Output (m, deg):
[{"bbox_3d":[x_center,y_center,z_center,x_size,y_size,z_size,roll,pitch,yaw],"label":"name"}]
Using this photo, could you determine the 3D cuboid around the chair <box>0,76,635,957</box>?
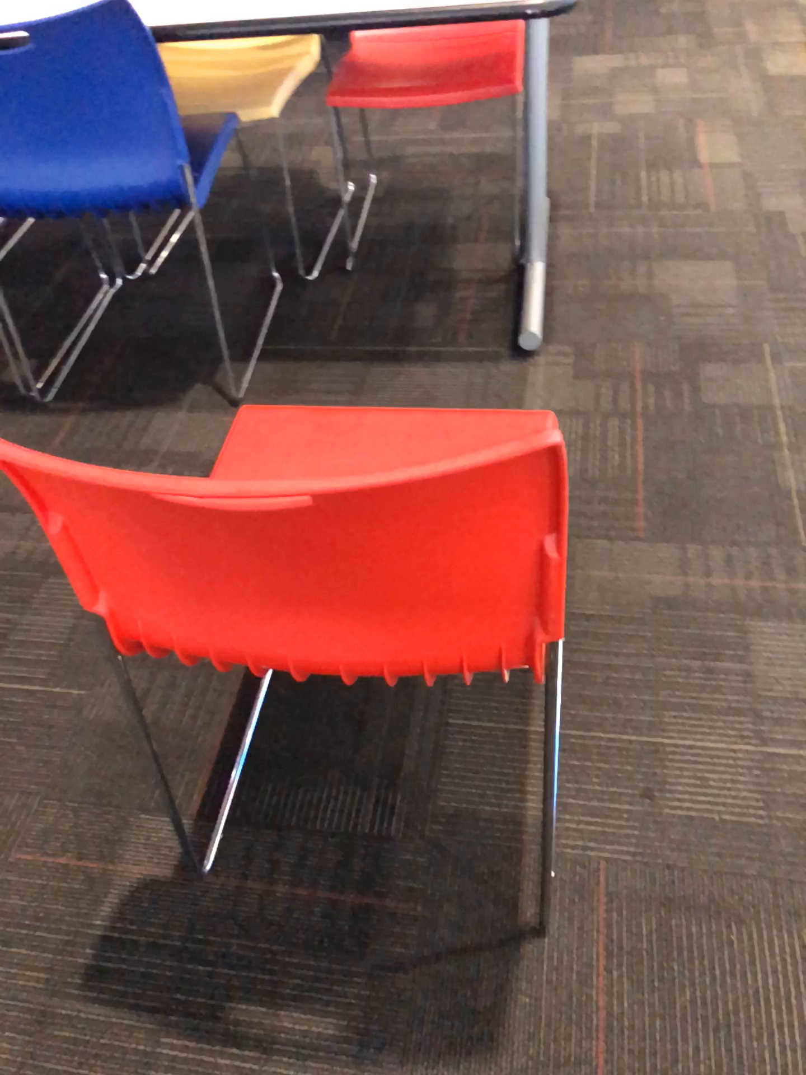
[{"bbox_3d":[-0.049,-0.007,1.040,0.560,0.767,0.612,3,46,12],"label":"chair"}]
